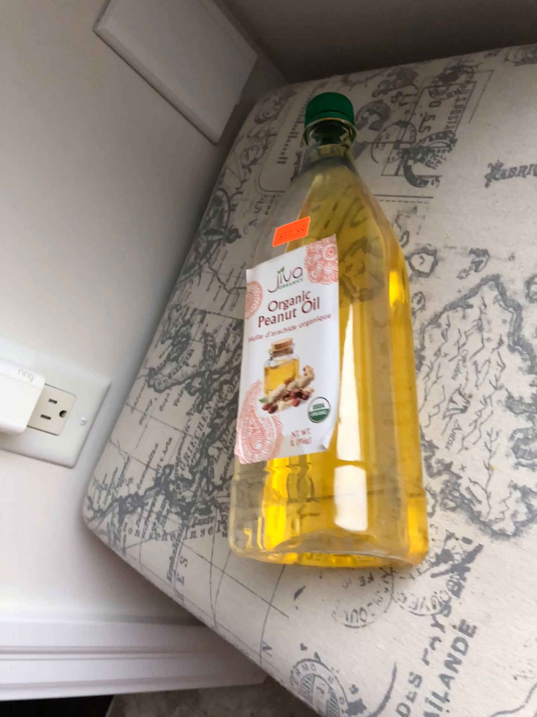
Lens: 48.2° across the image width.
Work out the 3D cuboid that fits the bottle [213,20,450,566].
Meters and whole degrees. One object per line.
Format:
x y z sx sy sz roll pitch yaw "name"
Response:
0.032 -0.036 0.317 0.080 0.070 0.270 -14 63 34 "bottle"
